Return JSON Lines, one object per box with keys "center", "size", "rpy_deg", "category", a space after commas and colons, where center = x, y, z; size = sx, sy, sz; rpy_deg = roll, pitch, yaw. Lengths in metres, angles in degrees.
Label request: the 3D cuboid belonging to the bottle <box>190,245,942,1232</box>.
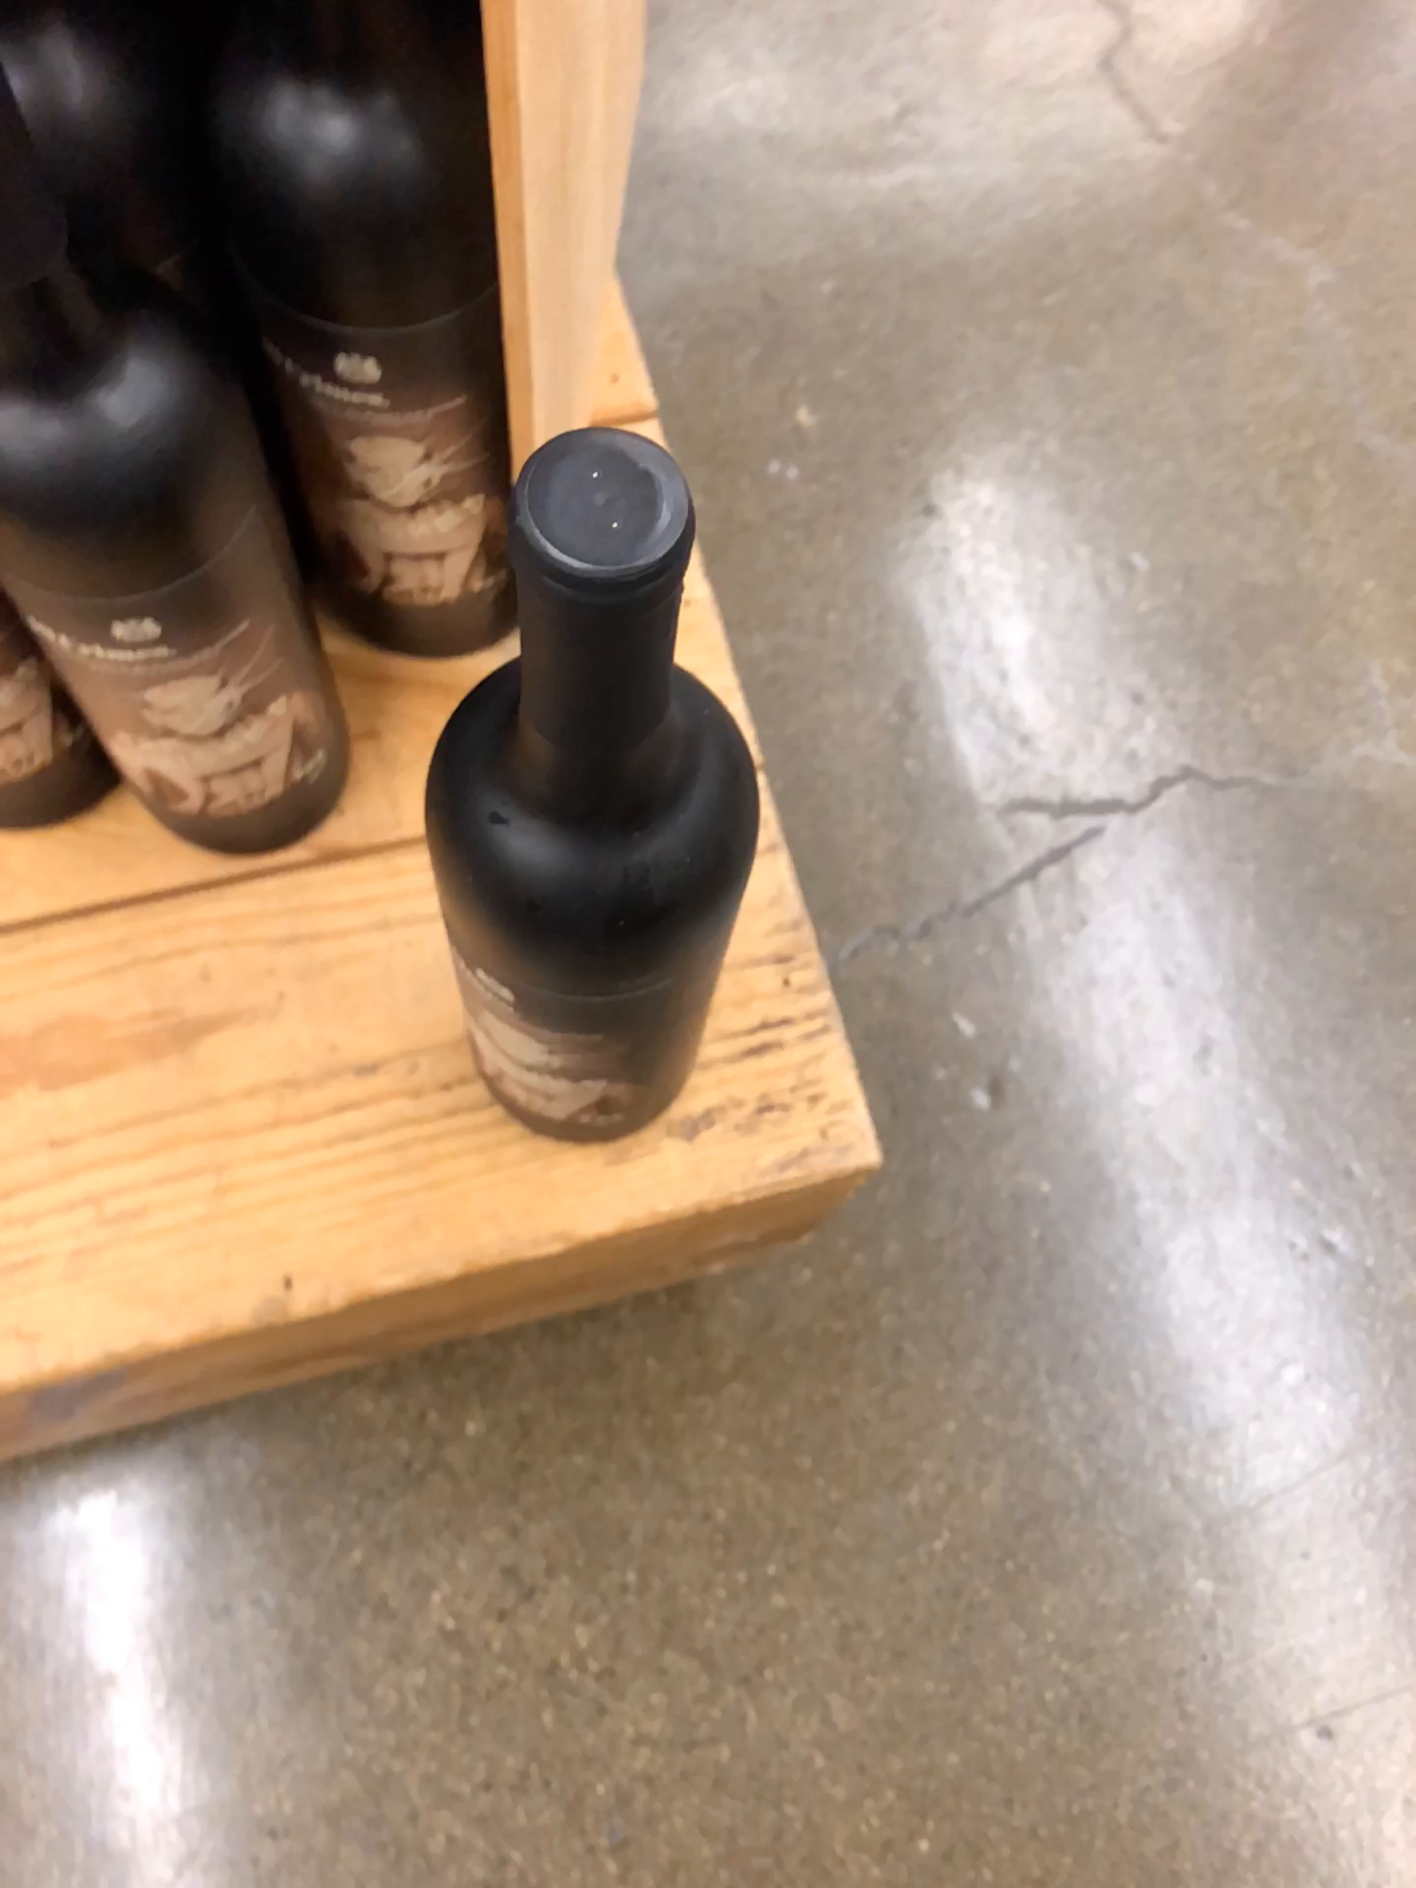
{"center": [-0.032, -0.010, 0.375], "size": [0.080, 0.300, 0.080], "rpy_deg": [2, 71, -5], "category": "bottle"}
